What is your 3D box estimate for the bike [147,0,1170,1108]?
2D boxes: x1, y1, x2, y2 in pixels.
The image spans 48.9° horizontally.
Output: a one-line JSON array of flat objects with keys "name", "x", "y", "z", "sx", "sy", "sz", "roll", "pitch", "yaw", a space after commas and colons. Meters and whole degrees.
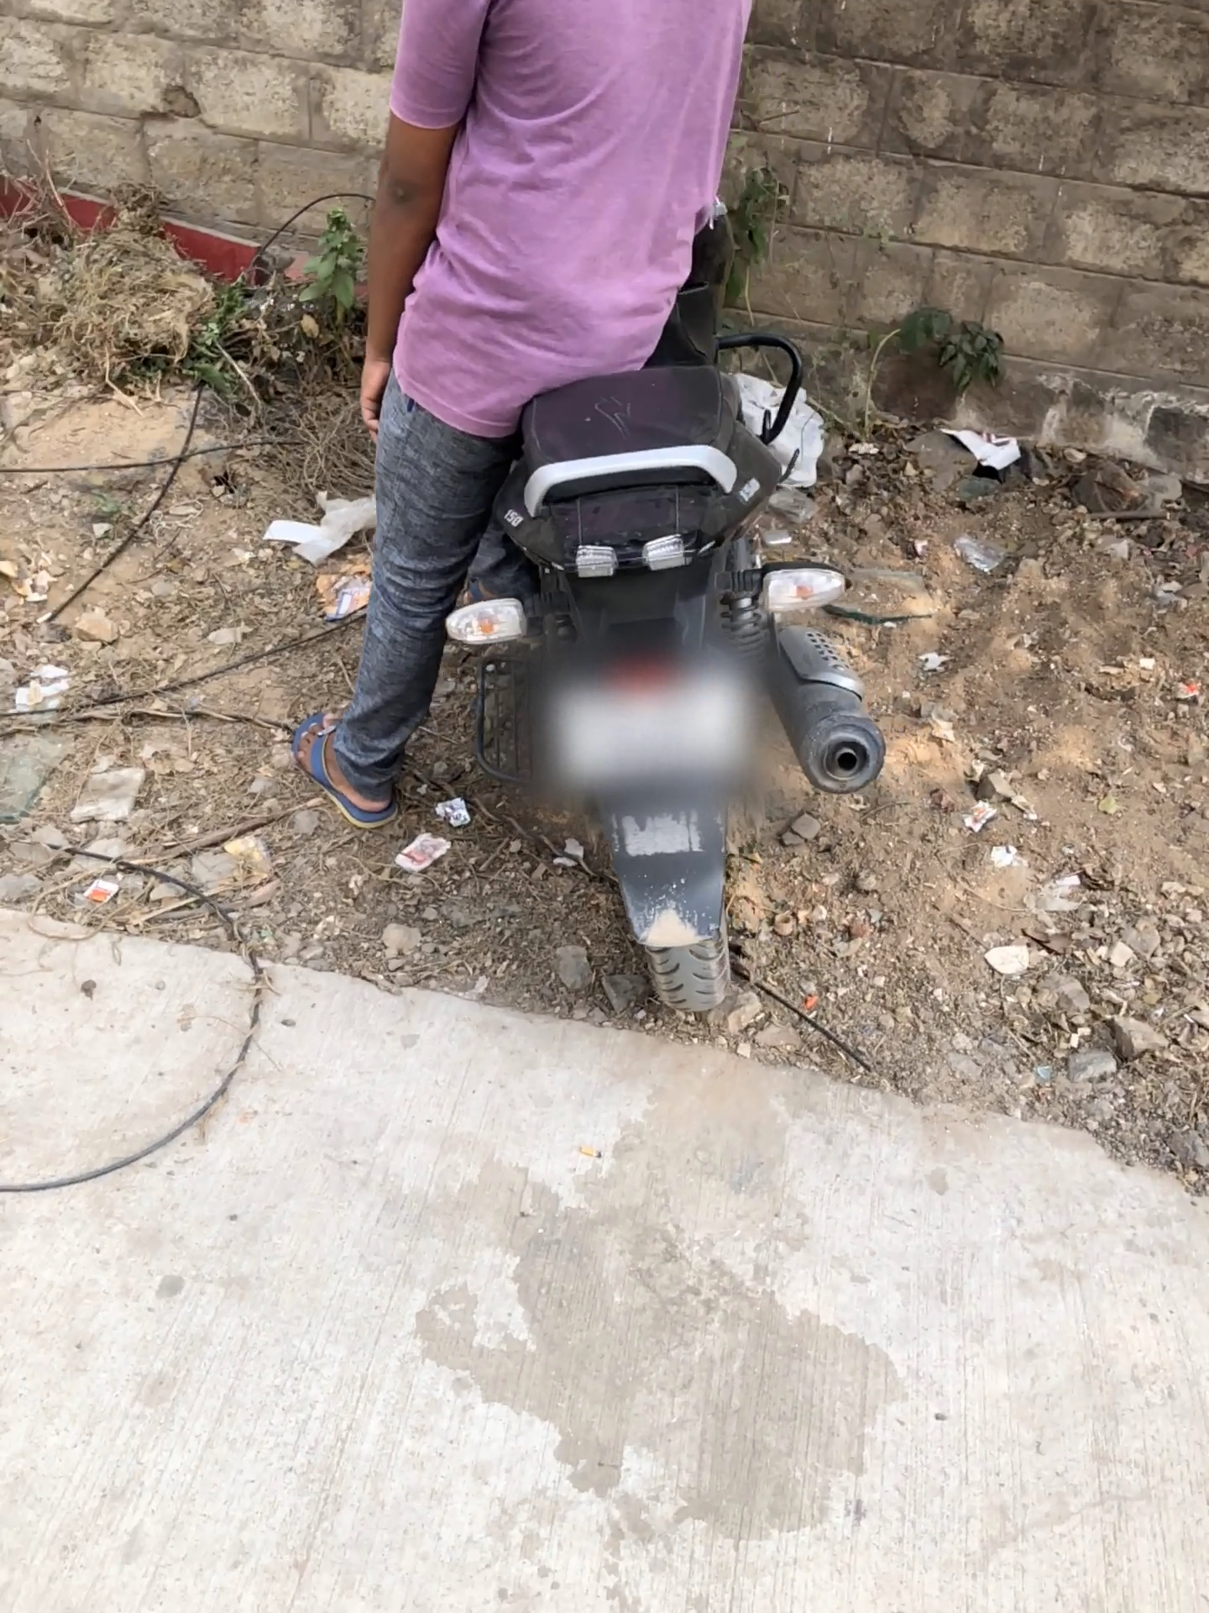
[{"name": "bike", "x": -0.133, "y": -0.683, "z": 2.087, "sx": 0.814, "sy": 1.215, "sz": 1.822, "roll": -1, "pitch": 40, "yaw": -10}]
